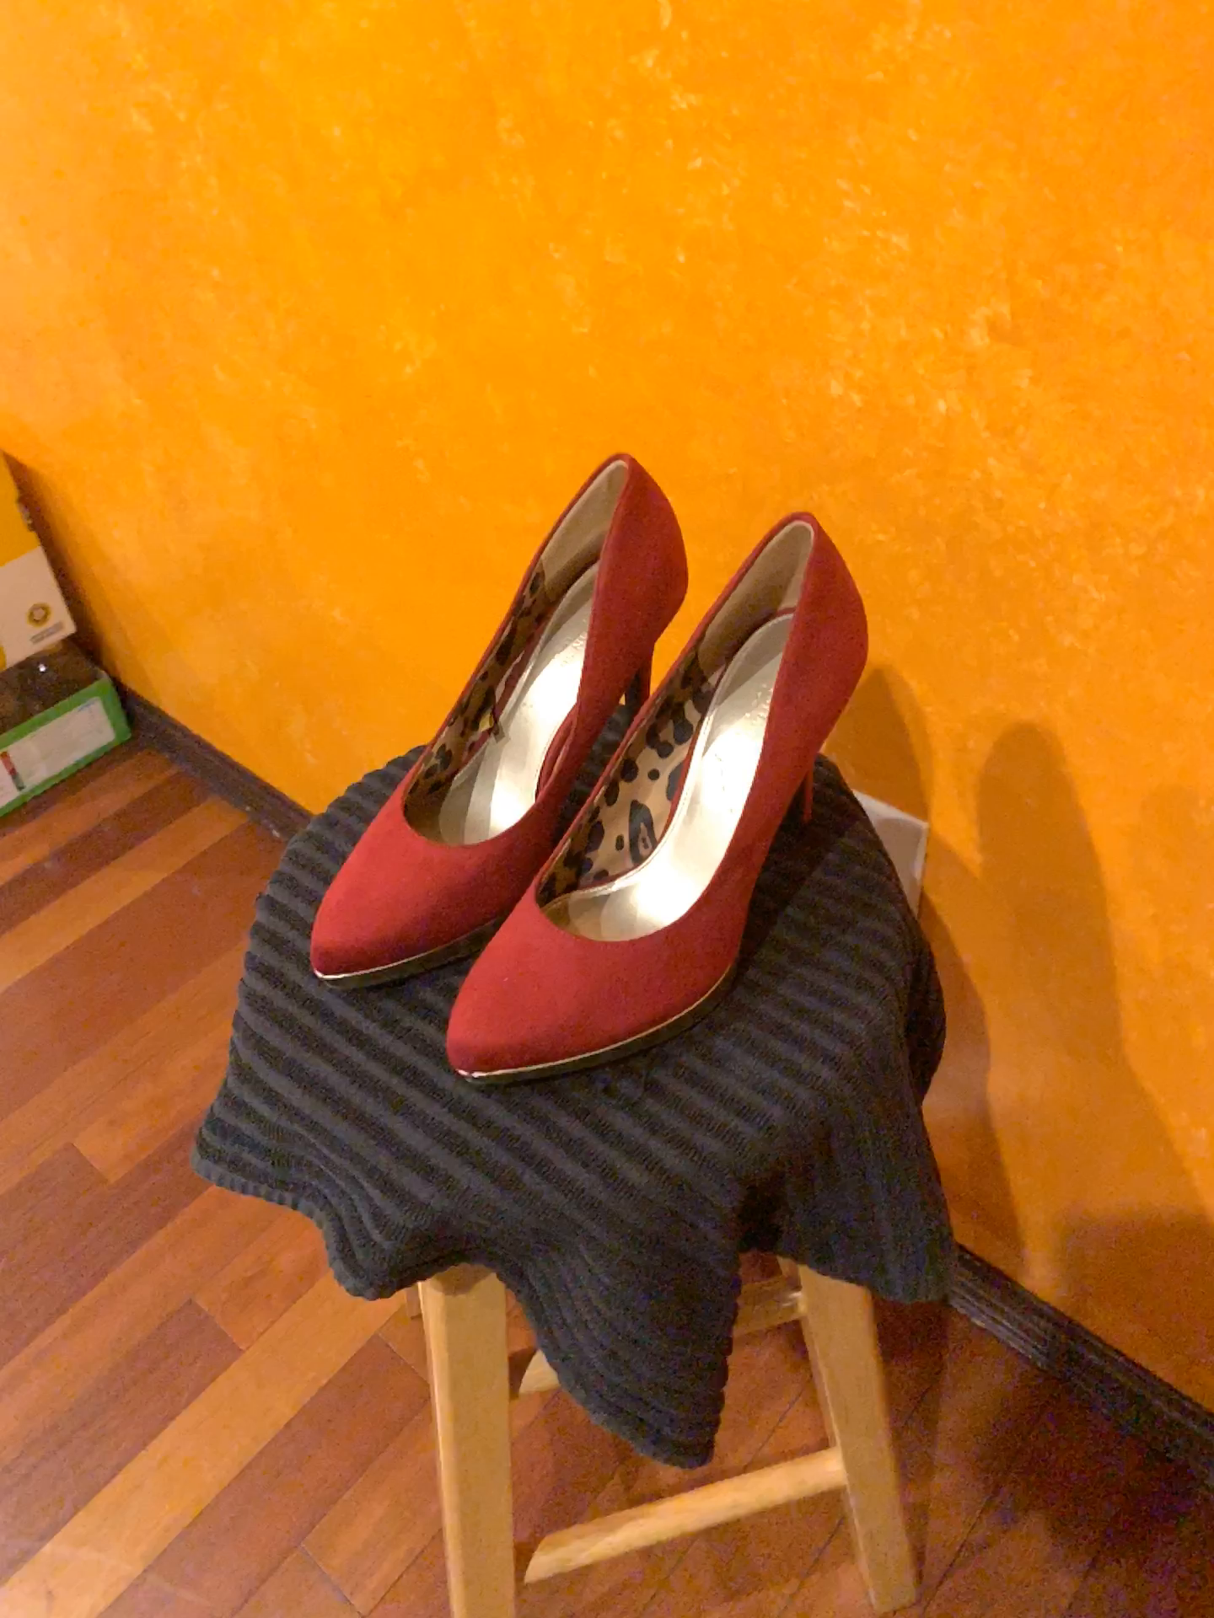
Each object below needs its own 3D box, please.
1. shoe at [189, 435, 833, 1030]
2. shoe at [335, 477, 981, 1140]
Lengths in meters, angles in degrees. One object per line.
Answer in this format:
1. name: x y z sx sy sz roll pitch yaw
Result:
1. shoe: -0.027 -0.051 0.562 0.100 0.119 0.291 30 48 27
2. shoe: 0.031 -0.016 0.506 0.093 0.128 0.270 31 49 27
